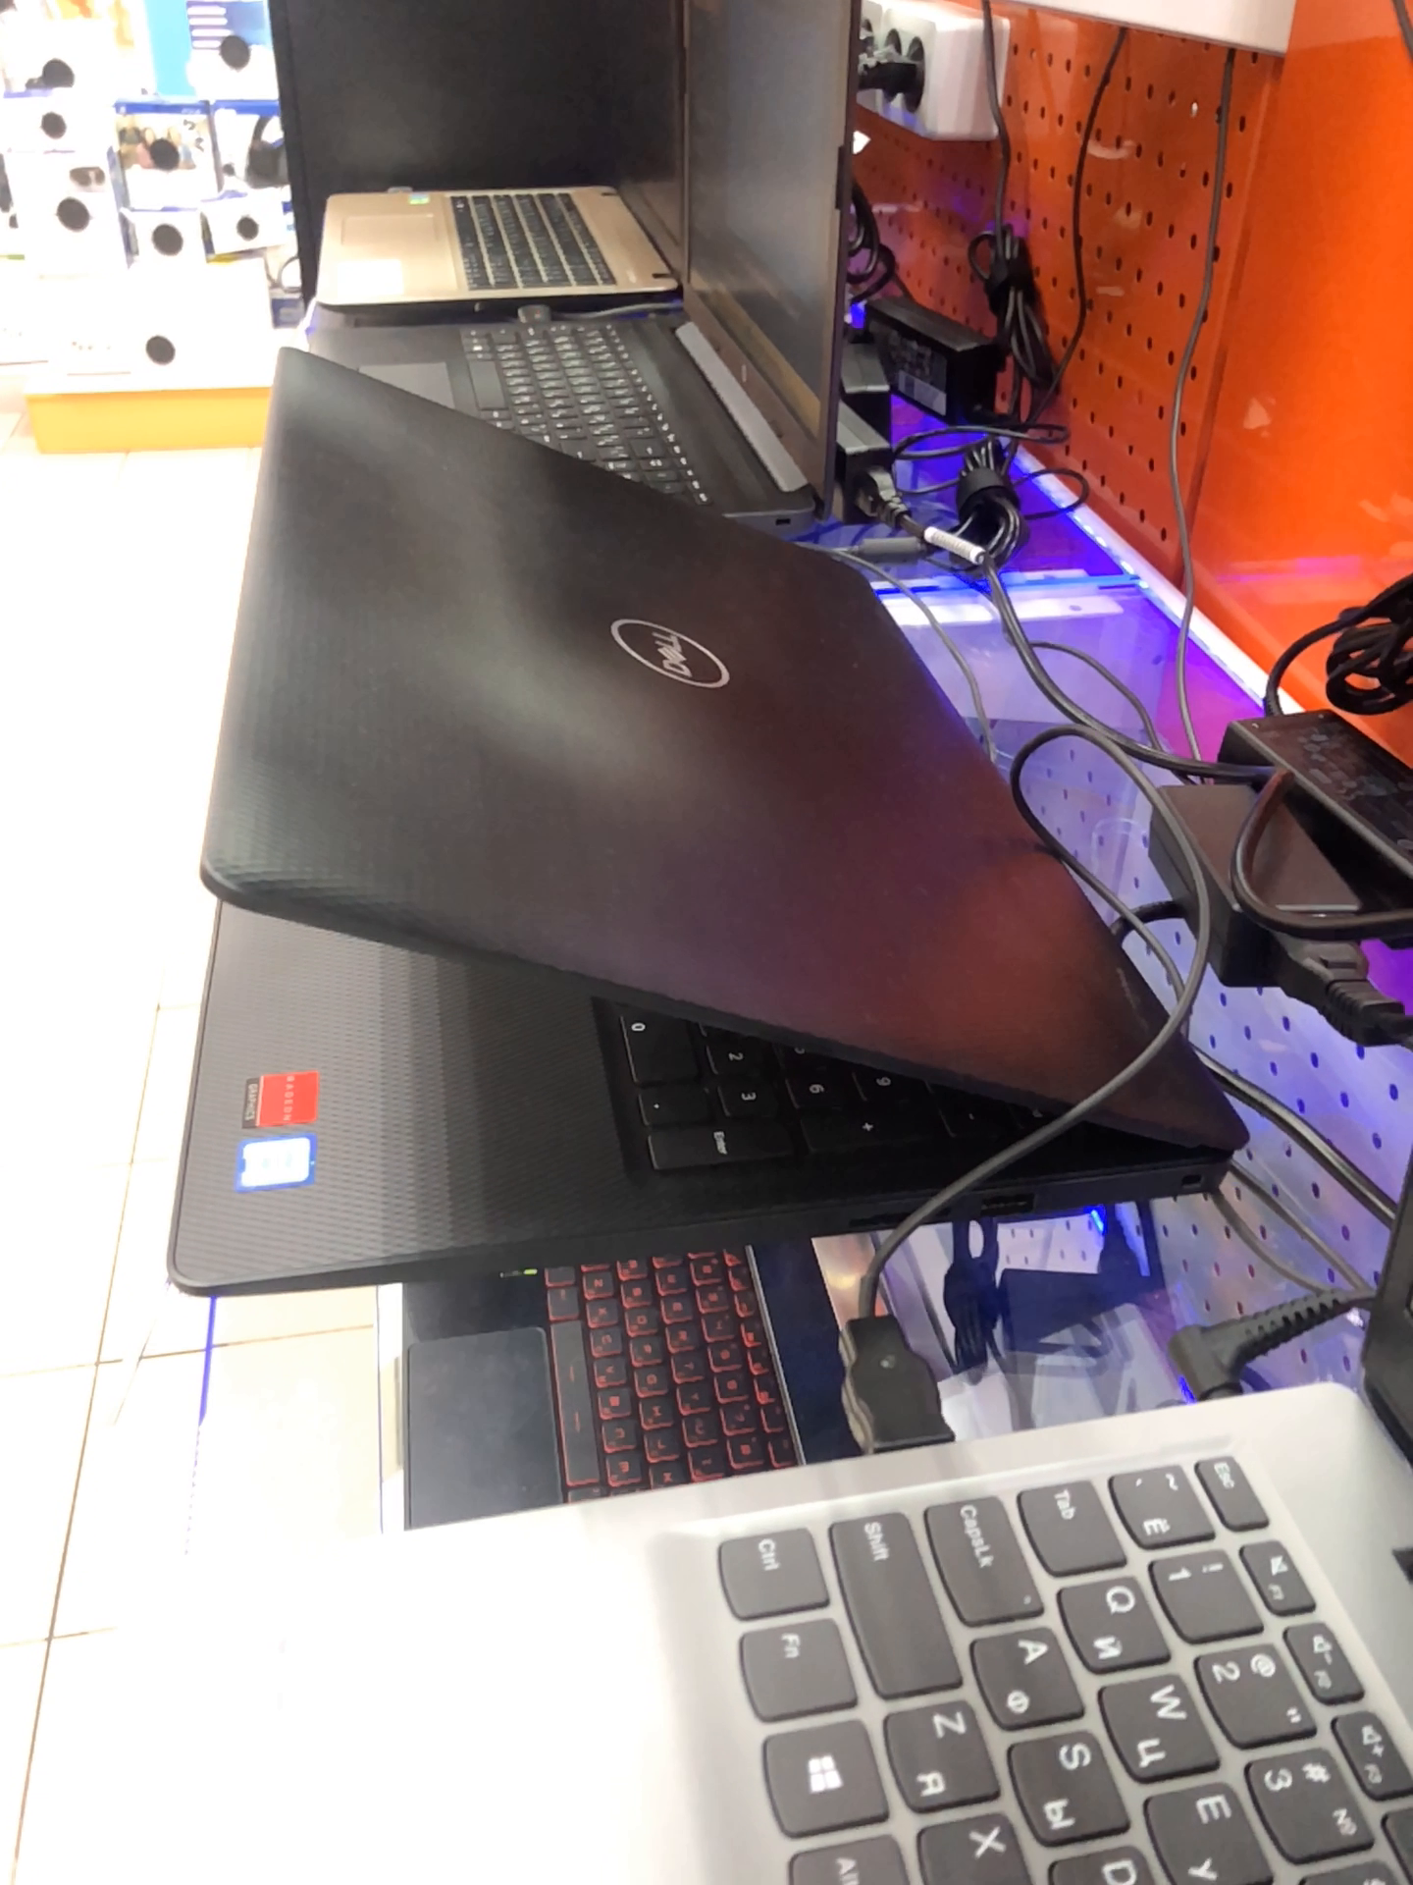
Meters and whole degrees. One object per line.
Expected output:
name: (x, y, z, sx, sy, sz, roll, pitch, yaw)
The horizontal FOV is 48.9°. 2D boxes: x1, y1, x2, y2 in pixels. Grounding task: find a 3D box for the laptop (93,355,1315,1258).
laptop: (-0.028, -0.083, 0.479, 0.238, 0.100, 0.373, -5, 34, -9)
